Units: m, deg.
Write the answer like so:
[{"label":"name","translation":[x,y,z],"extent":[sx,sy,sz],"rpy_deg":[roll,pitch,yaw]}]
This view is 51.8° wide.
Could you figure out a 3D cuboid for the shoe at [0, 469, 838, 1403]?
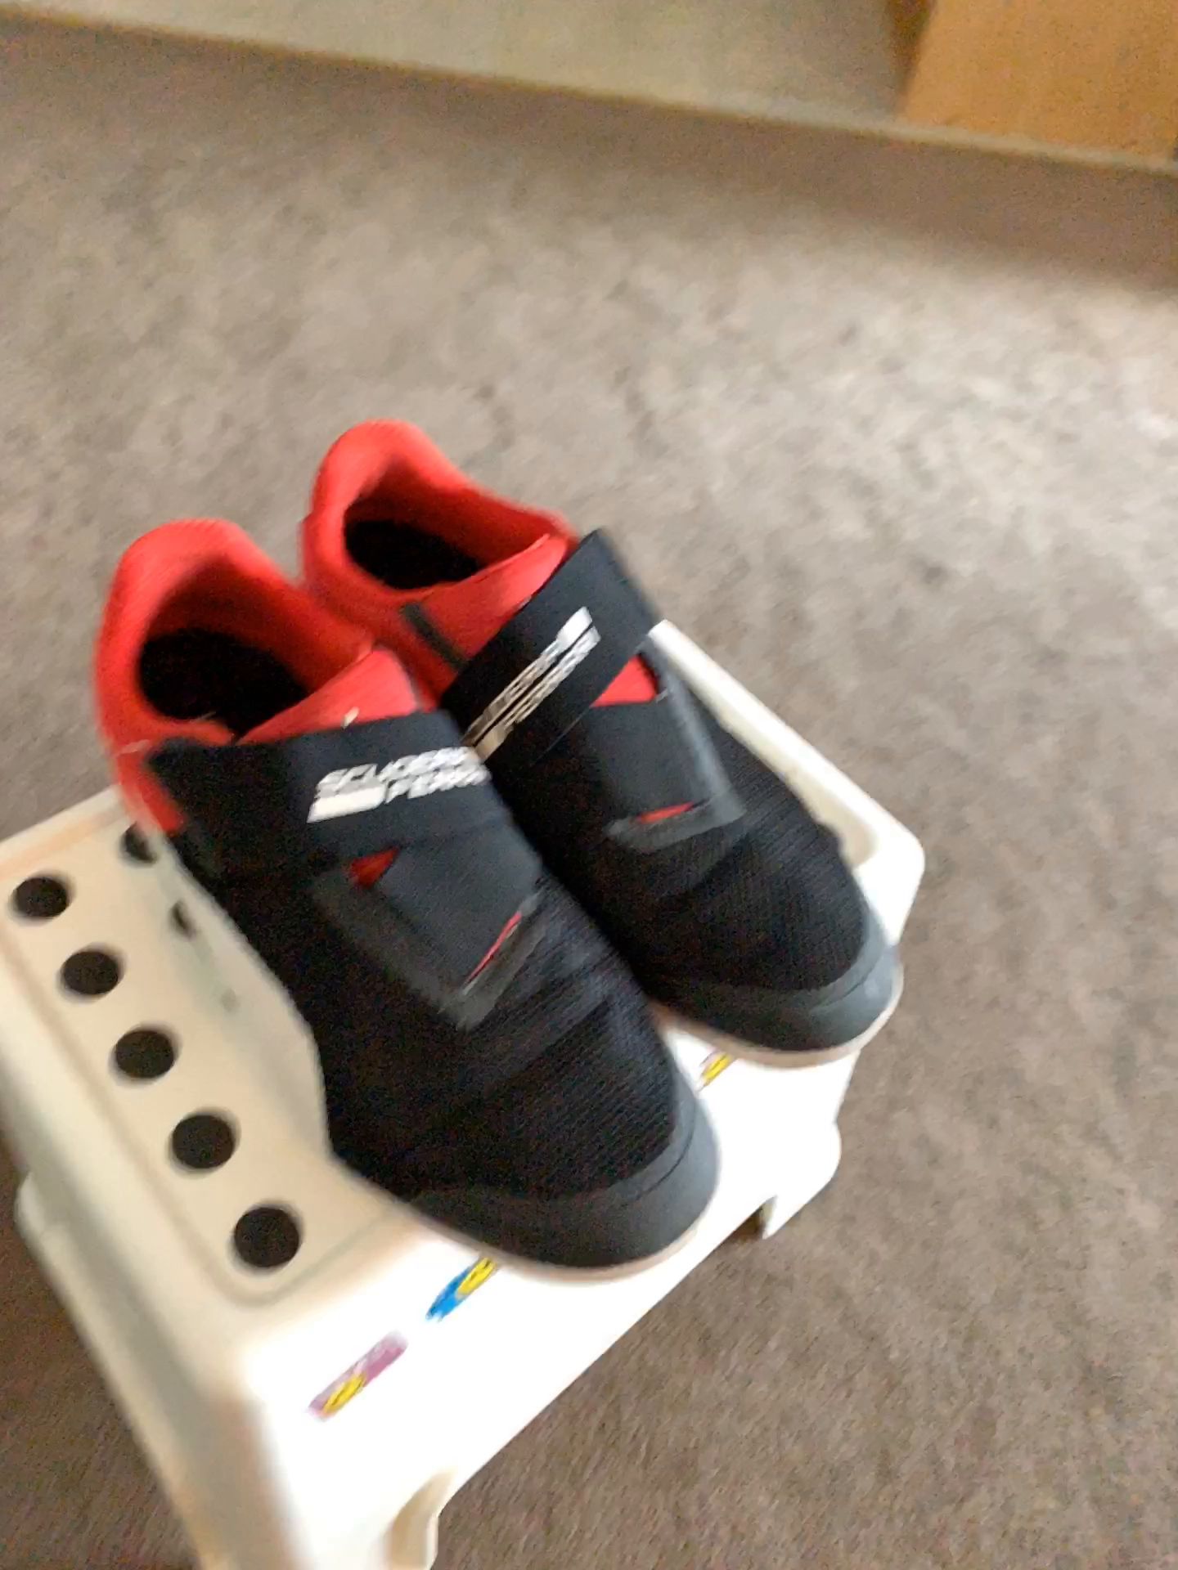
[{"label":"shoe","translation":[-0.074,0.031,0.402],"extent":[0.101,0.099,0.301],"rpy_deg":[-32,62,-28]}]

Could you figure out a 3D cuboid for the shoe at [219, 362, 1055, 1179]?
[{"label":"shoe","translation":[-0.002,-0.023,0.447],"extent":[0.111,0.099,0.301],"rpy_deg":[-32,62,-28]}]
